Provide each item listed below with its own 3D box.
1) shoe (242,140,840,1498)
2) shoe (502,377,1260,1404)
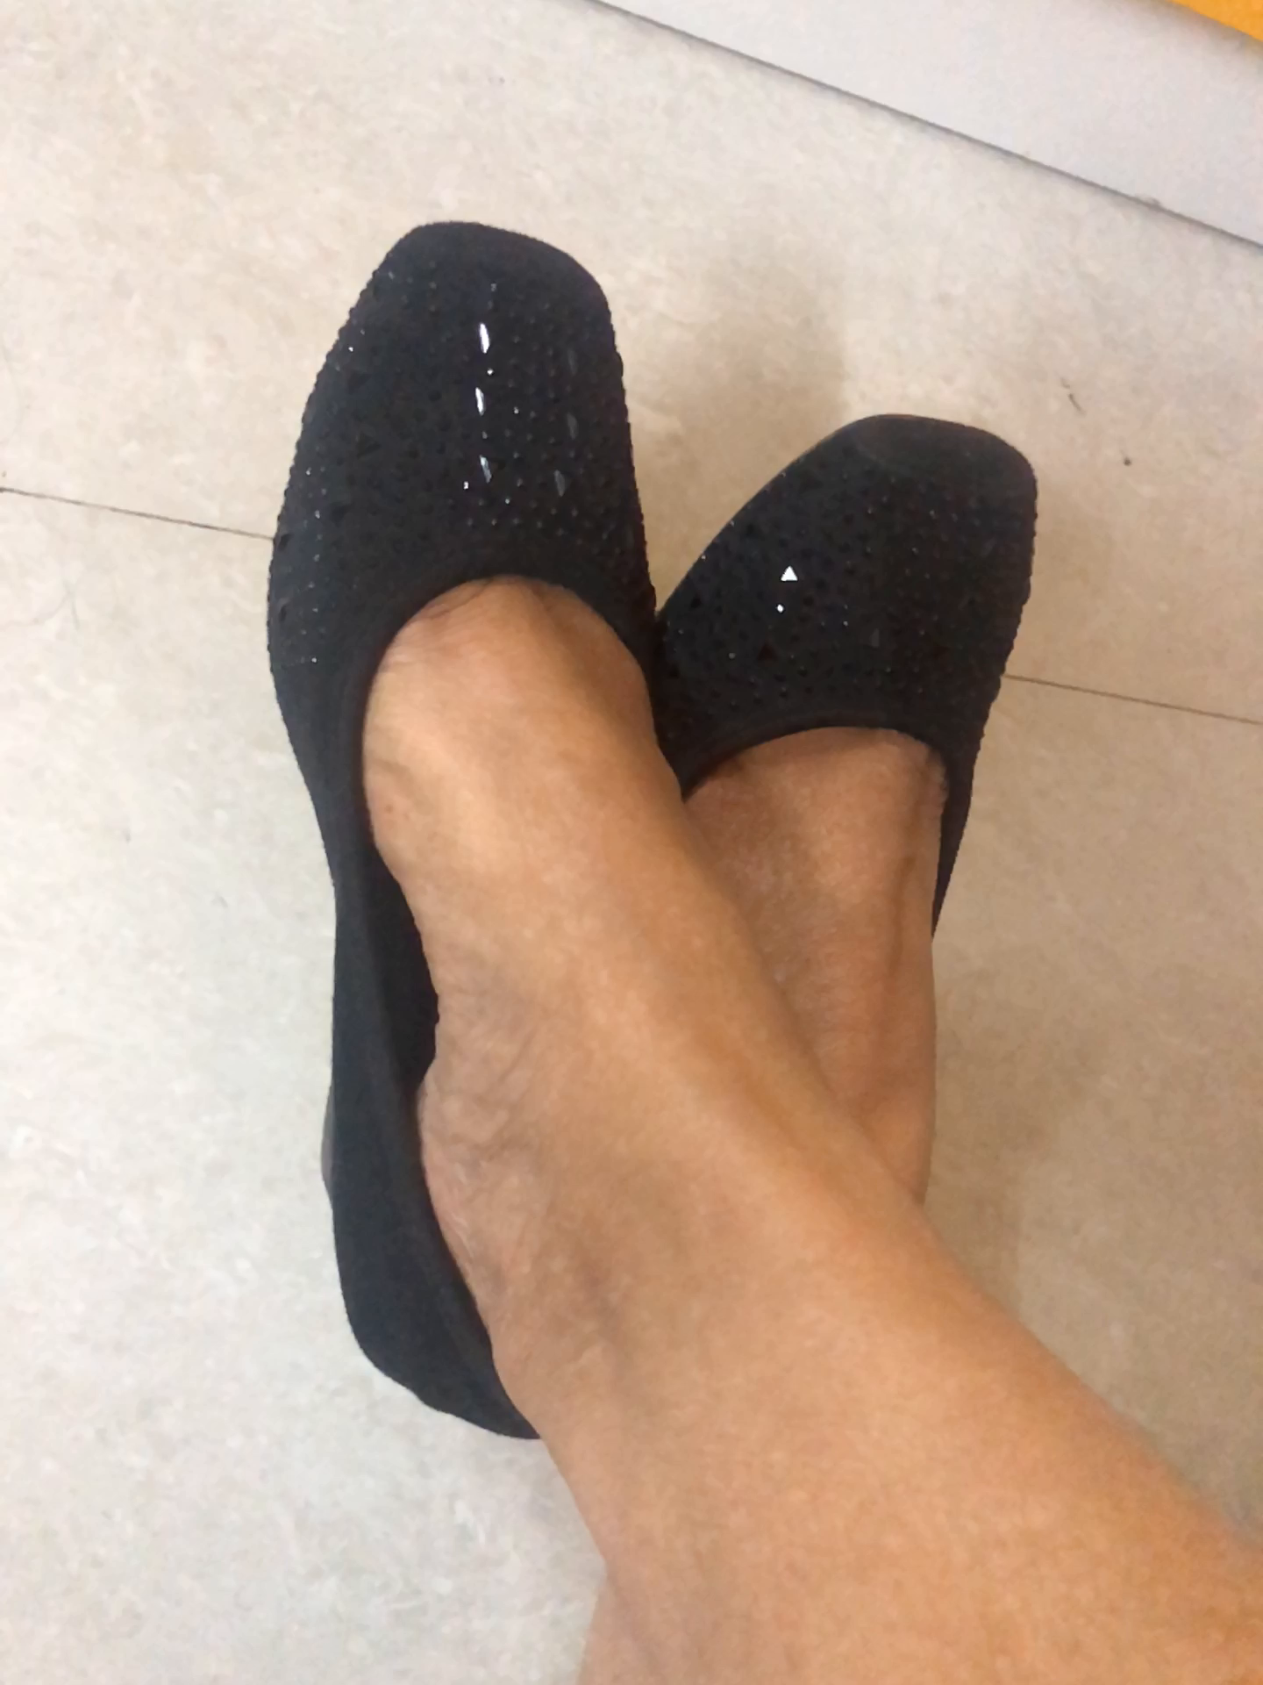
[{"bbox_3d":[-0.029,0.000,0.321,0.100,0.070,0.270,-6,109,-31],"label":"shoe"},{"bbox_3d":[0.048,0.021,0.353,0.100,0.070,0.240,6,113,-22],"label":"shoe"}]
